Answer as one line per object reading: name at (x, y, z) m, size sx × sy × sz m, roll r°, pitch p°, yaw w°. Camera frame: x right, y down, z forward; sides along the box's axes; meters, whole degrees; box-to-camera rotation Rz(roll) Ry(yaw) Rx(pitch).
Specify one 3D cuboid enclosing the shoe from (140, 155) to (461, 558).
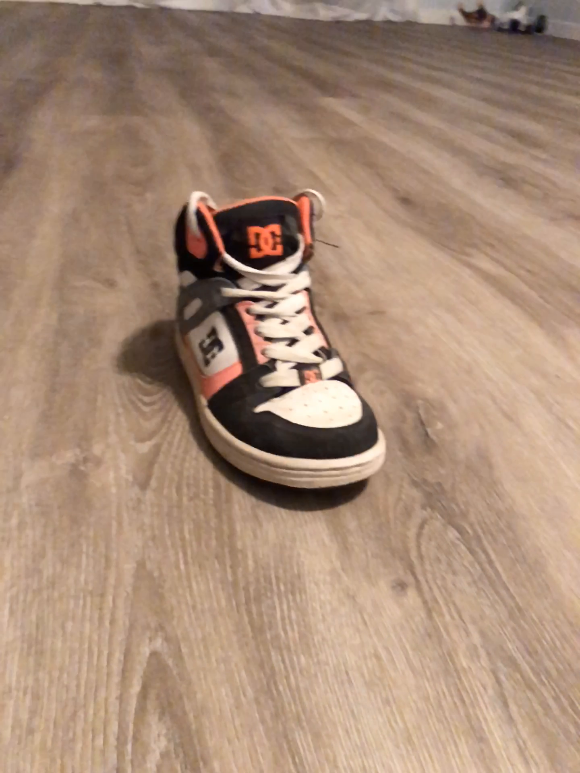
shoe at (-0.017, -0.041, 0.395) m, size 0.090 × 0.139 × 0.241 m, roll -10°, pitch 34°, yaw -21°
